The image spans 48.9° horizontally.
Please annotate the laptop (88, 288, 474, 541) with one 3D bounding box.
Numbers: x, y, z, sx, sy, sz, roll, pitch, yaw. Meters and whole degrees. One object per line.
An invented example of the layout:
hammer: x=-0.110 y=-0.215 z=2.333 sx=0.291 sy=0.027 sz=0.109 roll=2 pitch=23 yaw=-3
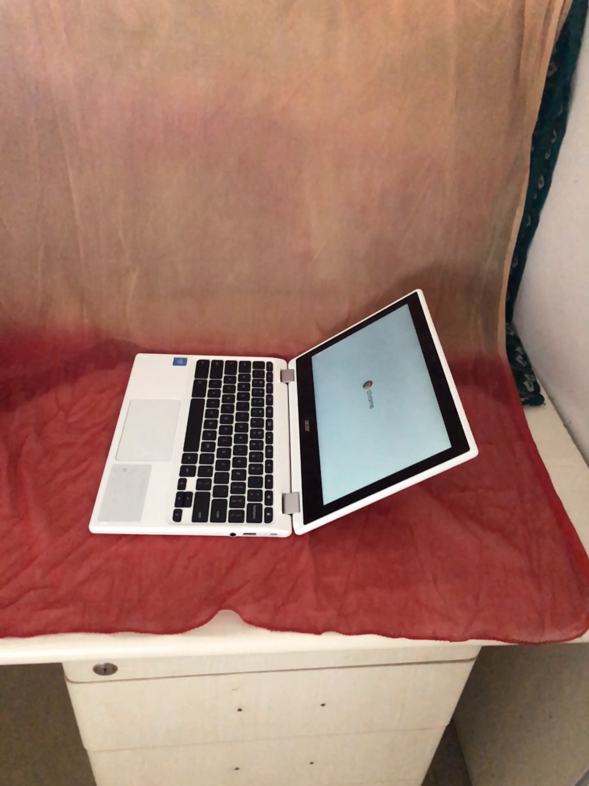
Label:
laptop: x=-0.017 y=0.011 z=0.702 sx=0.337 sy=0.112 sz=0.264 roll=2 pitch=39 yaw=-3
